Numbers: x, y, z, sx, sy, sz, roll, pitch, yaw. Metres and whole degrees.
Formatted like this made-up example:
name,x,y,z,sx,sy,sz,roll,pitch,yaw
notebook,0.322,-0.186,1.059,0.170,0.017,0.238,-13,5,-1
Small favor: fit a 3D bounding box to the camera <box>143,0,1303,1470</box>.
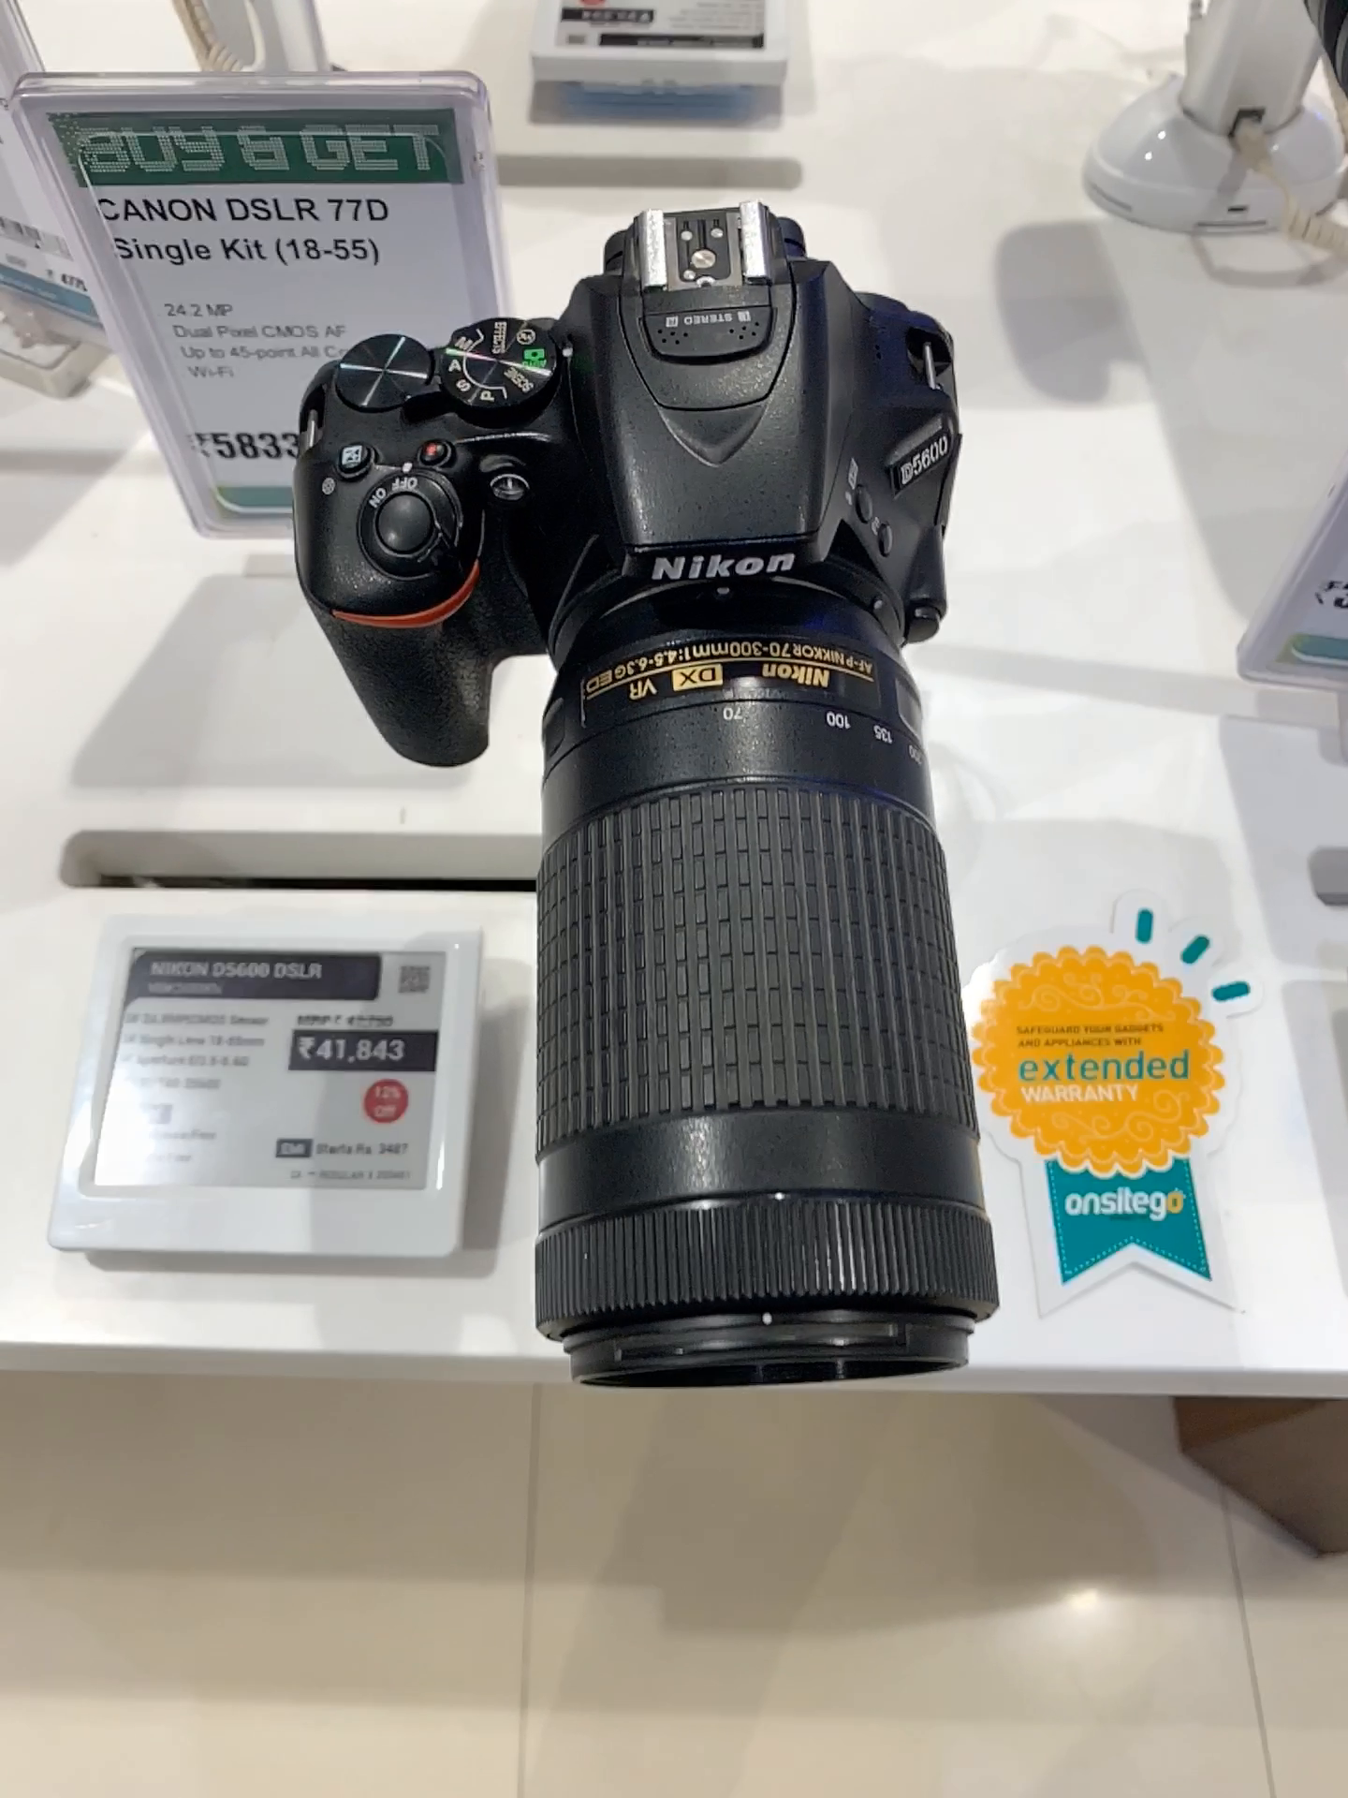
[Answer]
name,x,y,z,sx,sy,sz,roll,pitch,yaw
camera,0.001,-0.052,0.256,0.130,0.080,0.280,-2,62,-1
